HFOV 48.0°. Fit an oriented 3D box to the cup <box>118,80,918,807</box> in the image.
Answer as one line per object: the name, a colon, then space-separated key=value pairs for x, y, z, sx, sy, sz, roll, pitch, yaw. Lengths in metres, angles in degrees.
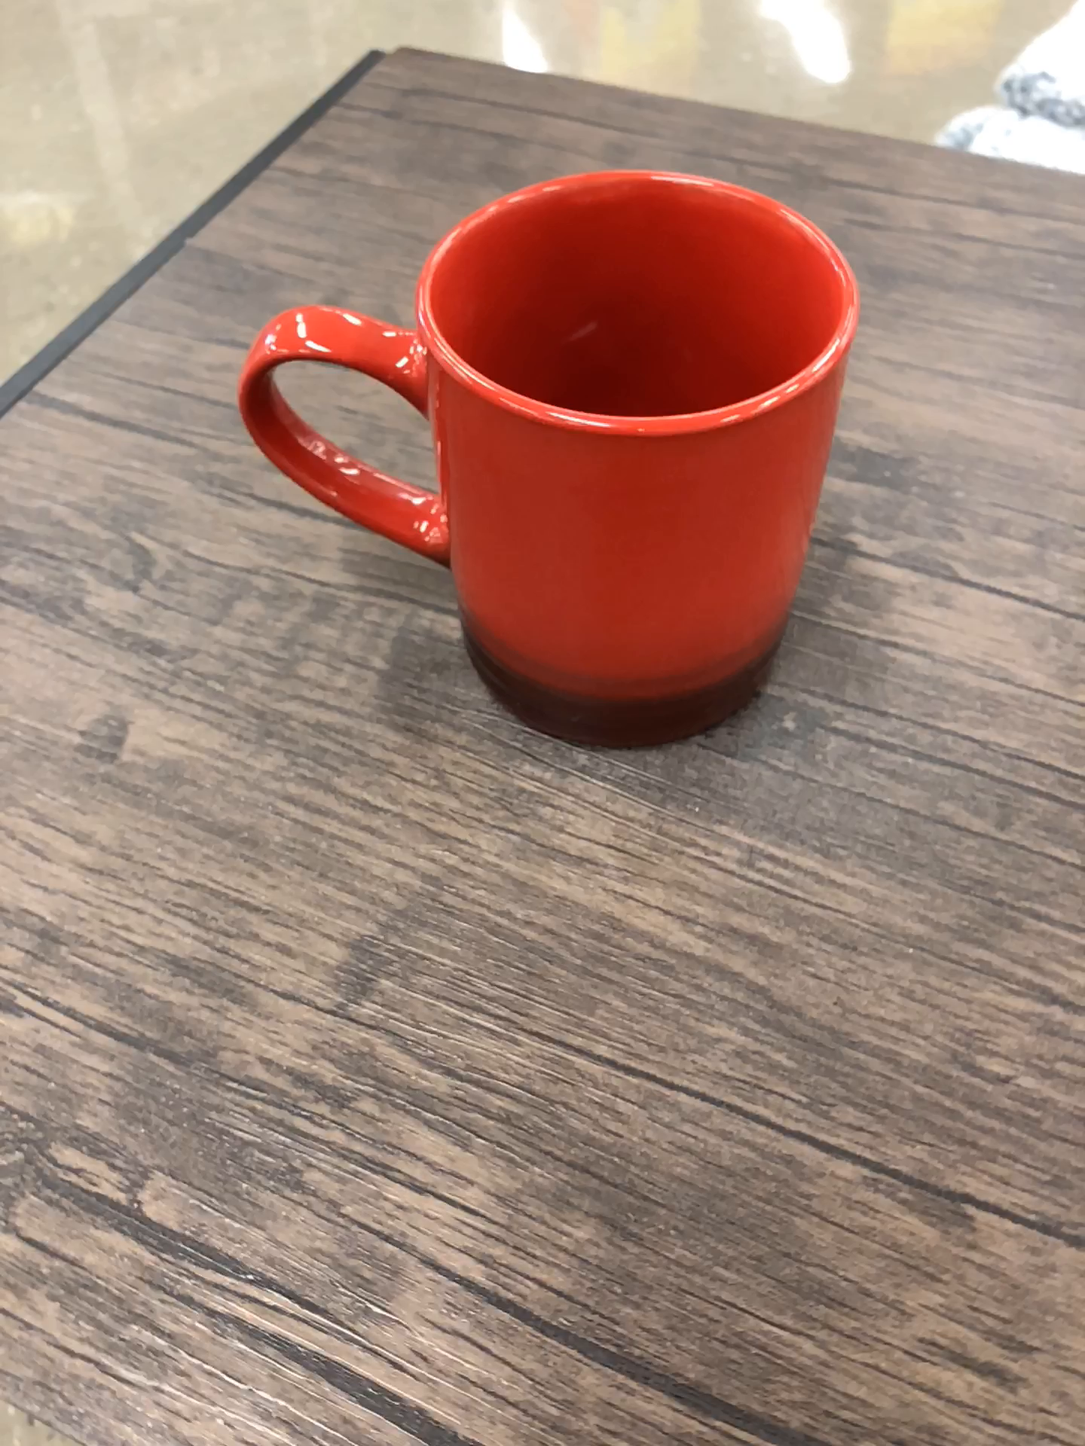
cup: x=0.001 y=-0.067 z=0.293 sx=0.140 sy=0.110 sz=0.100 roll=13 pitch=54 yaw=11
